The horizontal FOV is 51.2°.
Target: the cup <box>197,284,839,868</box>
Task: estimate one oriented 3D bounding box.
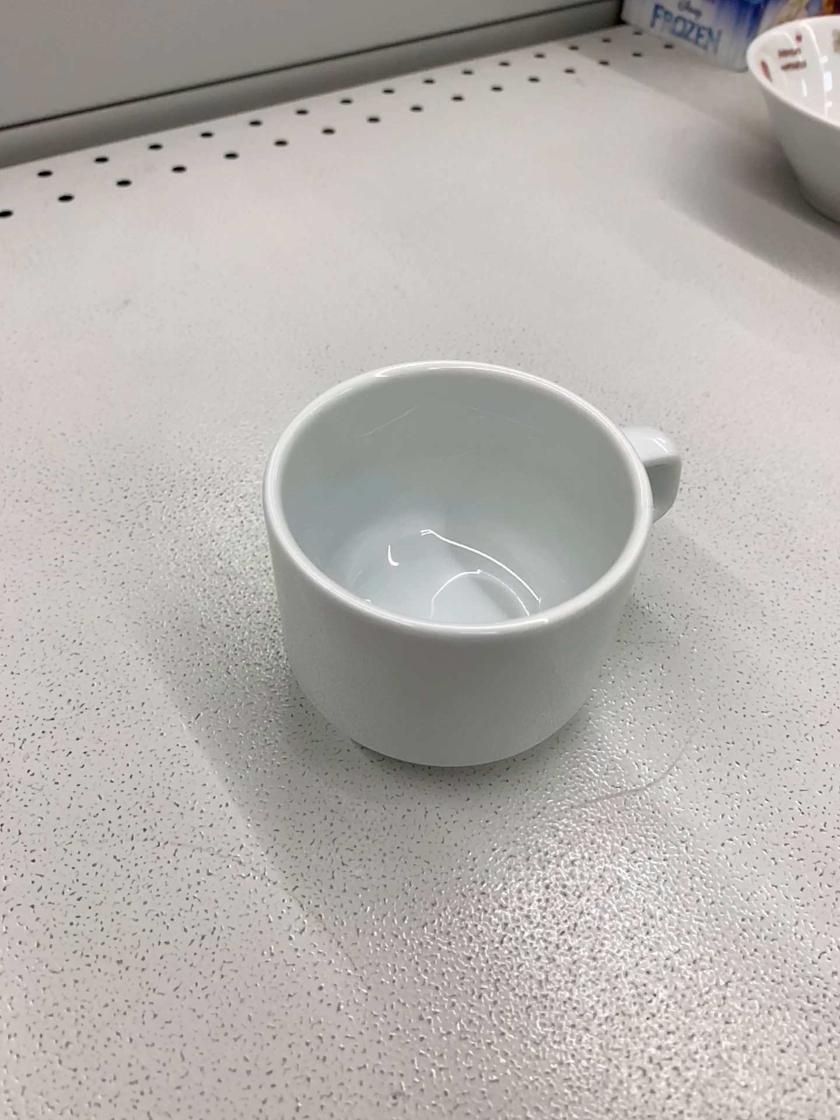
[{"bbox_3d":[0.020,-0.003,0.198,0.105,0.056,0.082,-25,55,-22],"label":"cup"}]
